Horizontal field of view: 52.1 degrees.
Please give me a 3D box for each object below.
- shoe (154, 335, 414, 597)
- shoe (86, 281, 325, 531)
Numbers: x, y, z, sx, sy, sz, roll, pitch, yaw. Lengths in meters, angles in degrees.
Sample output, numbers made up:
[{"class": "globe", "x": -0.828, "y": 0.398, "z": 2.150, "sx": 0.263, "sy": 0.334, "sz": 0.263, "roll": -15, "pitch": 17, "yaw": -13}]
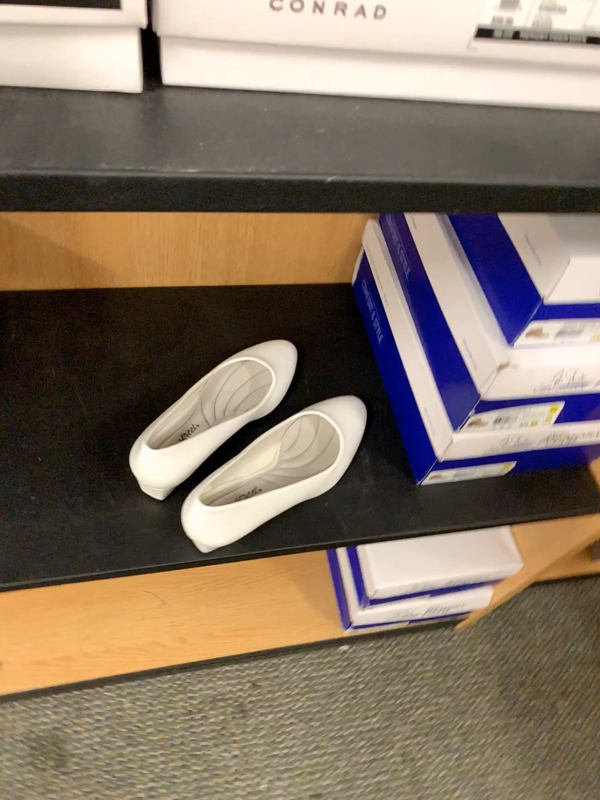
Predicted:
[{"class": "shoe", "x": -0.014, "y": 0.060, "z": 0.608, "sx": 0.090, "sy": 0.110, "sz": 0.251, "roll": 42, "pitch": 60, "yaw": 16}, {"class": "shoe", "x": -0.088, "y": 0.000, "z": 0.629, "sx": 0.080, "sy": 0.100, "sz": 0.251, "roll": 36, "pitch": 59, "yaw": 12}]
